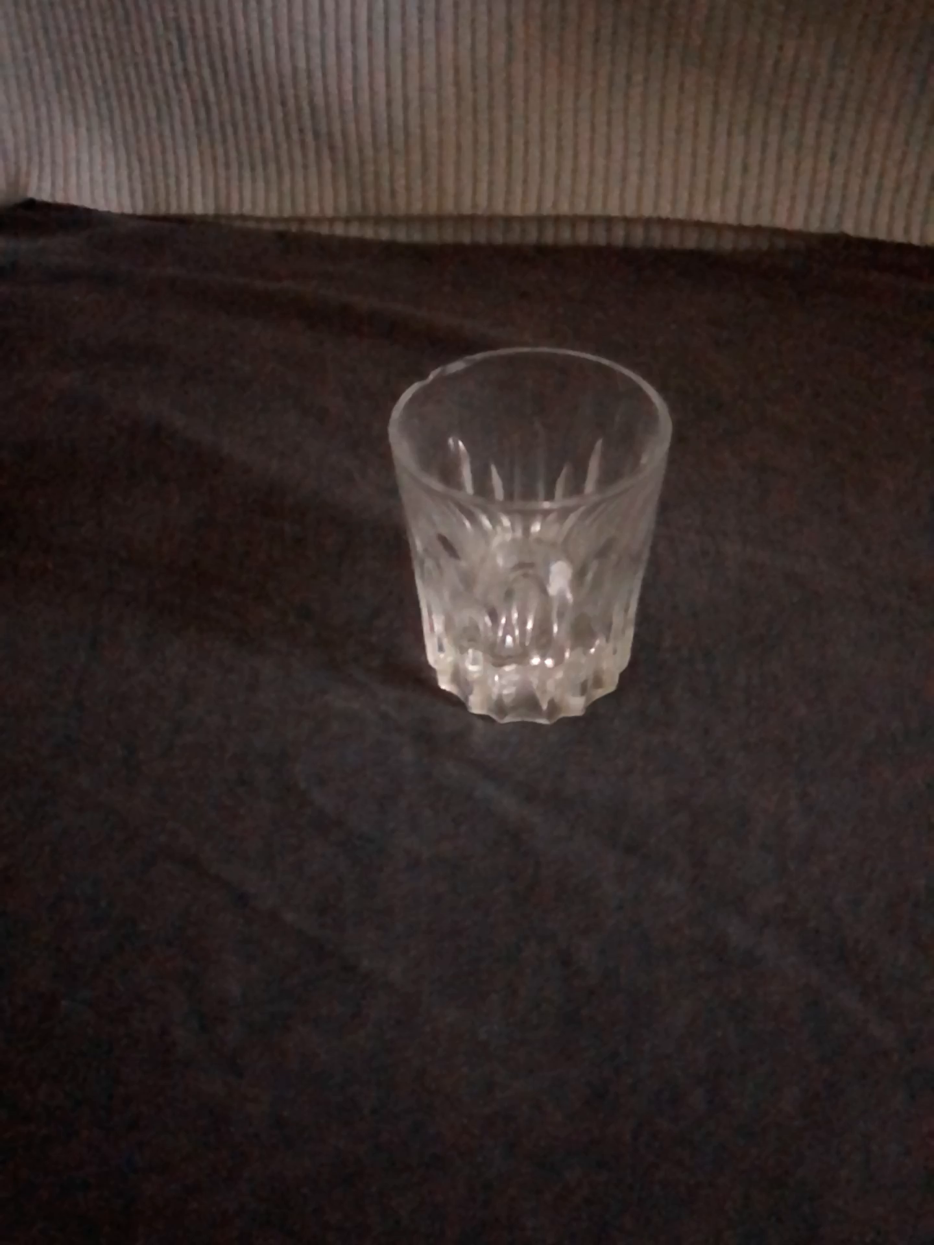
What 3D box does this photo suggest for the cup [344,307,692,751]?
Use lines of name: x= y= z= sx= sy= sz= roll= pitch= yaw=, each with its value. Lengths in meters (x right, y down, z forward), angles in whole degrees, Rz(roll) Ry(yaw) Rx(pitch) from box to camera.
cup: x=0.012 y=-0.021 z=0.237 sx=0.059 sy=0.078 sz=0.048 roll=13 pitch=45 yaw=14
